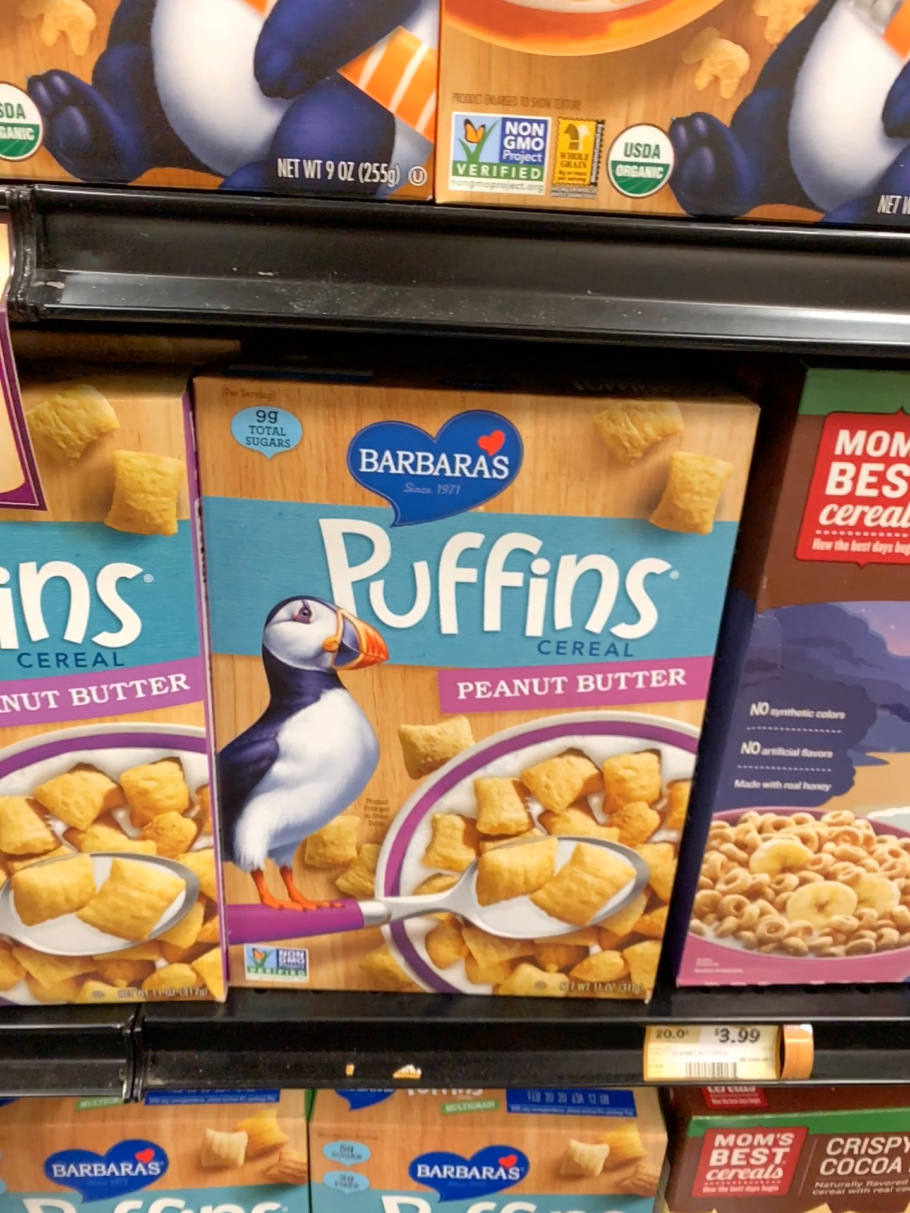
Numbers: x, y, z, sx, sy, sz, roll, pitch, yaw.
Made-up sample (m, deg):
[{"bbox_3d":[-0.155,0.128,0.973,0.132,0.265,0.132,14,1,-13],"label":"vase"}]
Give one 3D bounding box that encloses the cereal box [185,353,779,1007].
[{"bbox_3d":[0.003,0.036,0.394,0.200,0.259,0.070,3,20,-2],"label":"cereal box"}]
